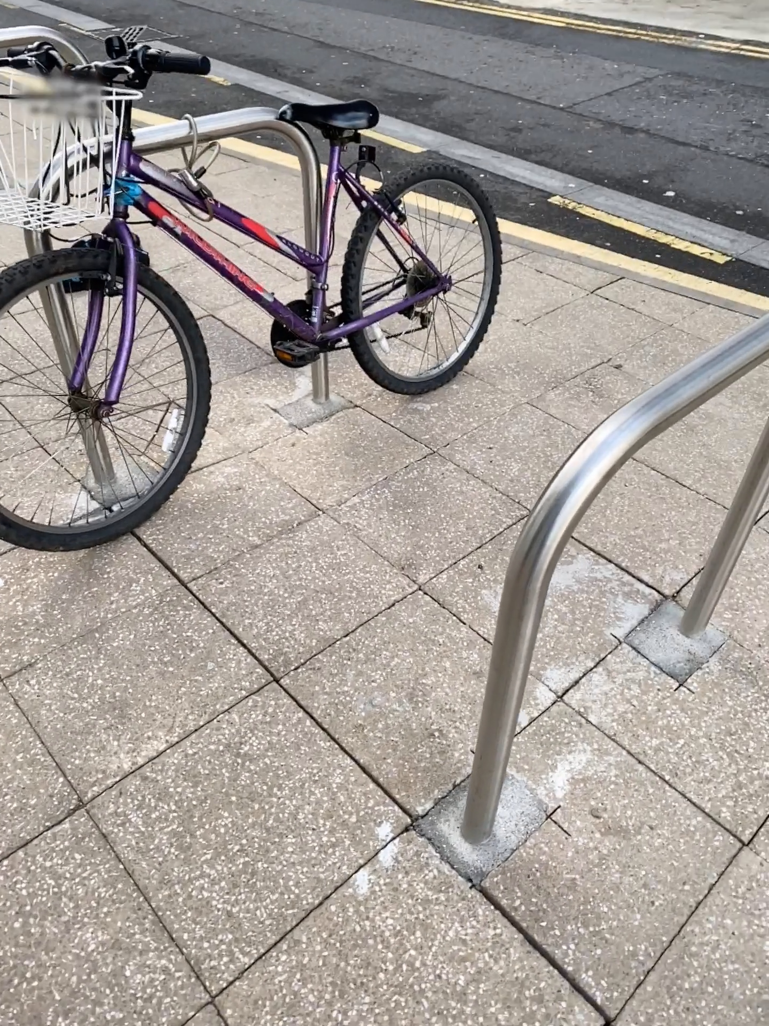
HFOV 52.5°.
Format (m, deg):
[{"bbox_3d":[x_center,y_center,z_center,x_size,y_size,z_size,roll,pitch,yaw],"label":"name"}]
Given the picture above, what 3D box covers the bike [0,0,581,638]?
[{"bbox_3d":[-0.315,-0.654,1.938,0.582,1.043,1.740,33,49,31],"label":"bike"}]
